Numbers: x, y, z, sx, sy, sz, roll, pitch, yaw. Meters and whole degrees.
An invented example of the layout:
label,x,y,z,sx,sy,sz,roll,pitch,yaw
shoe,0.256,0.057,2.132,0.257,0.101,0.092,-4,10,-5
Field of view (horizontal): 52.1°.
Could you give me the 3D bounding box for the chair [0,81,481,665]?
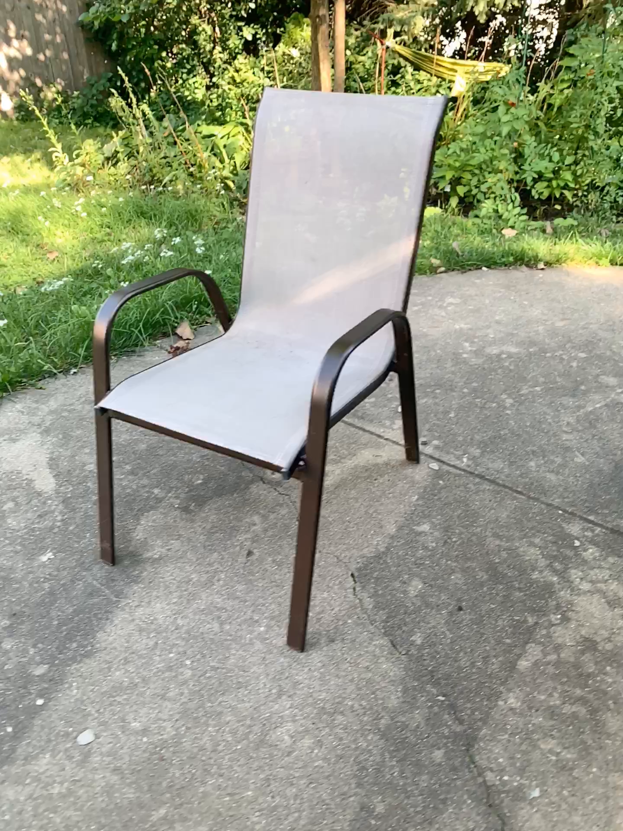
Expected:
label,x,y,z,sx,sy,sz,roll,pitch,yaw
chair,-0.096,-0.150,1.317,0.571,0.845,0.743,17,39,24
